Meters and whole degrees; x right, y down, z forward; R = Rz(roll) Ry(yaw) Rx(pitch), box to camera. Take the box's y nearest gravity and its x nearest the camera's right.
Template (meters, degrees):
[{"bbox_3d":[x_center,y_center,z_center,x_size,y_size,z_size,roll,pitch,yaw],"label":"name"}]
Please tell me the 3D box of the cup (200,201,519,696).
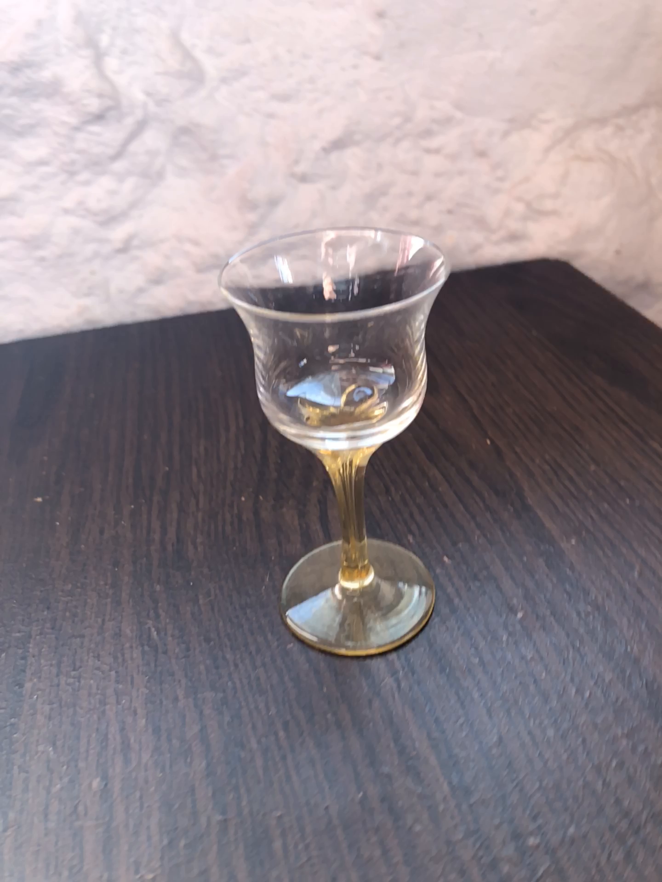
[{"bbox_3d":[0.005,0.001,0.177,0.051,0.093,0.059,-12,33,-10],"label":"cup"}]
